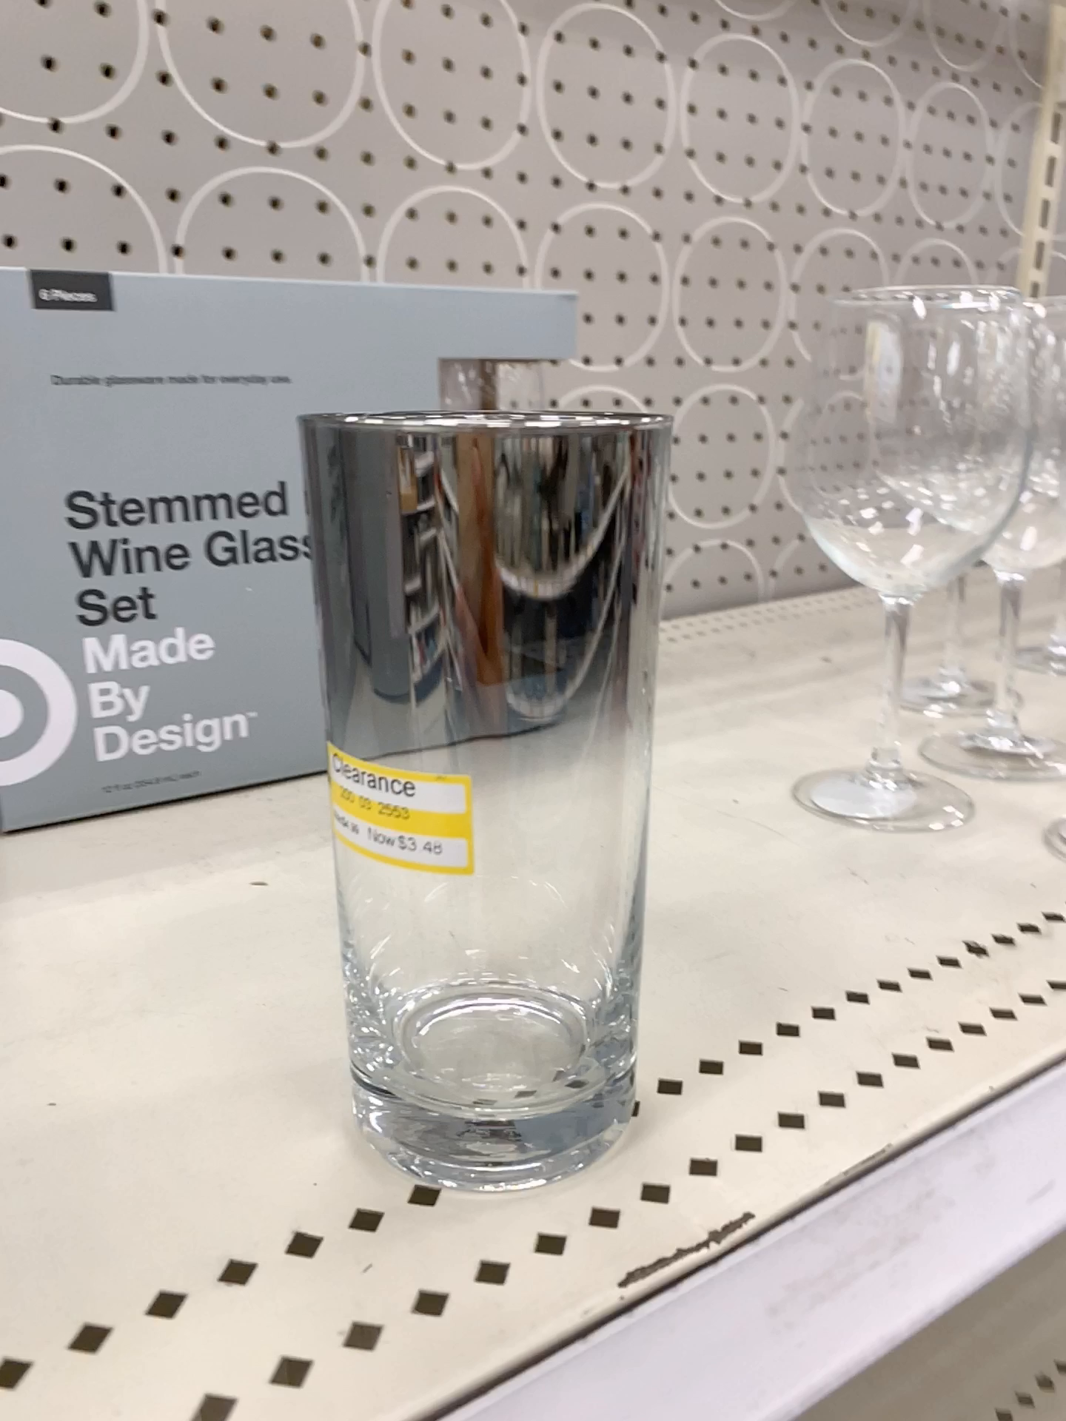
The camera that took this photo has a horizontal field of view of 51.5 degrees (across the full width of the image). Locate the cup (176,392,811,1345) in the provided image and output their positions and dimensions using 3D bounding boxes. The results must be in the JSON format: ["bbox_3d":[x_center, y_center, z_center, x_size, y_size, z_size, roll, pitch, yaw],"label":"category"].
[{"bbox_3d":[-0.004,0.017,0.215,0.080,0.149,0.080,0,17,0],"label":"cup"}]
